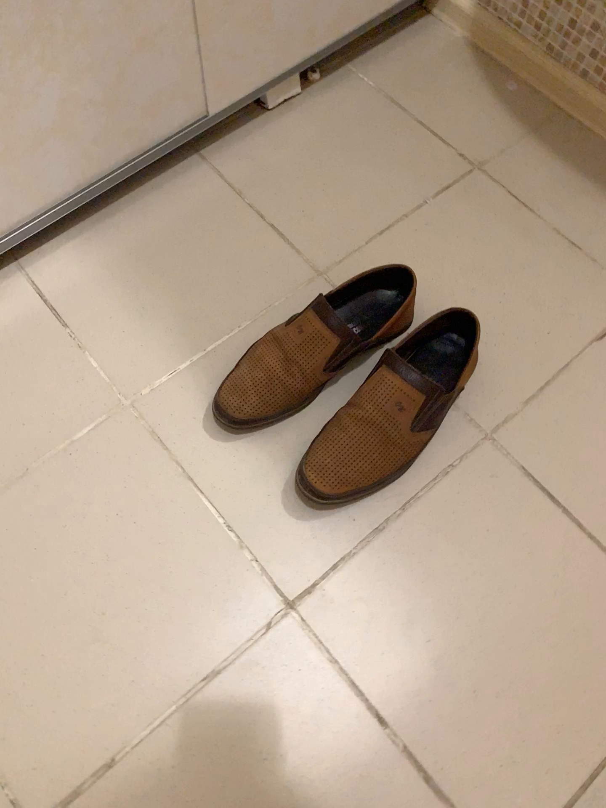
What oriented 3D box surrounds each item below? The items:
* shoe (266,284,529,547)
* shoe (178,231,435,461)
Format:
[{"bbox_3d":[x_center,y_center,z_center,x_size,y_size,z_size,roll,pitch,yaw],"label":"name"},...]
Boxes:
[{"bbox_3d":[0.104,0.009,0.687,0.290,0.090,0.110,-41,73,-18],"label":"shoe"},{"bbox_3d":[0.008,-0.070,0.703,0.270,0.080,0.110,-37,71,-17],"label":"shoe"}]
